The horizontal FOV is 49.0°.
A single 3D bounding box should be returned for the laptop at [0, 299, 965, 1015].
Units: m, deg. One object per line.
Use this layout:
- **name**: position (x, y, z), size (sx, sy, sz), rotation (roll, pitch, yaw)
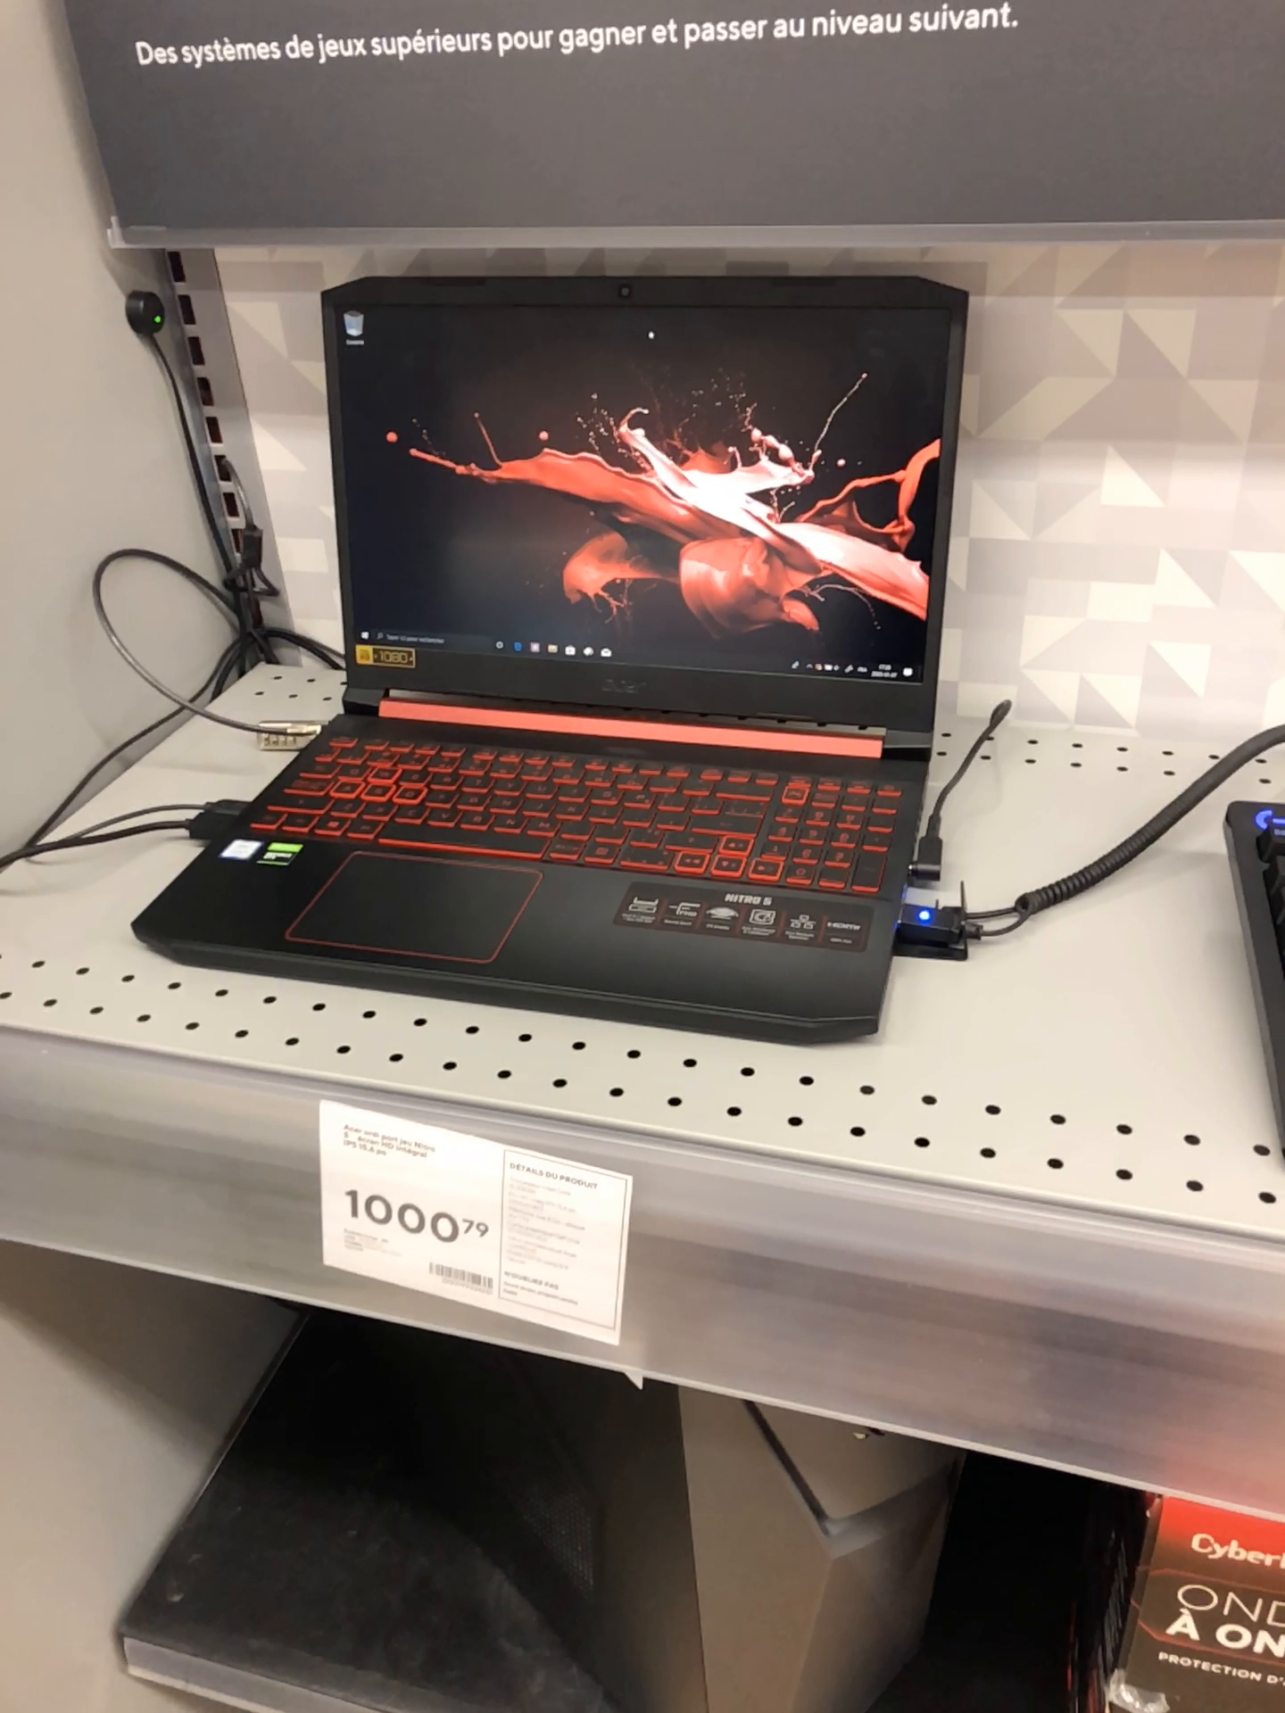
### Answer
- **laptop**: position (-0.041, -0.123, 0.710), size (0.361, 0.241, 0.282), rotation (6, 34, 13)
